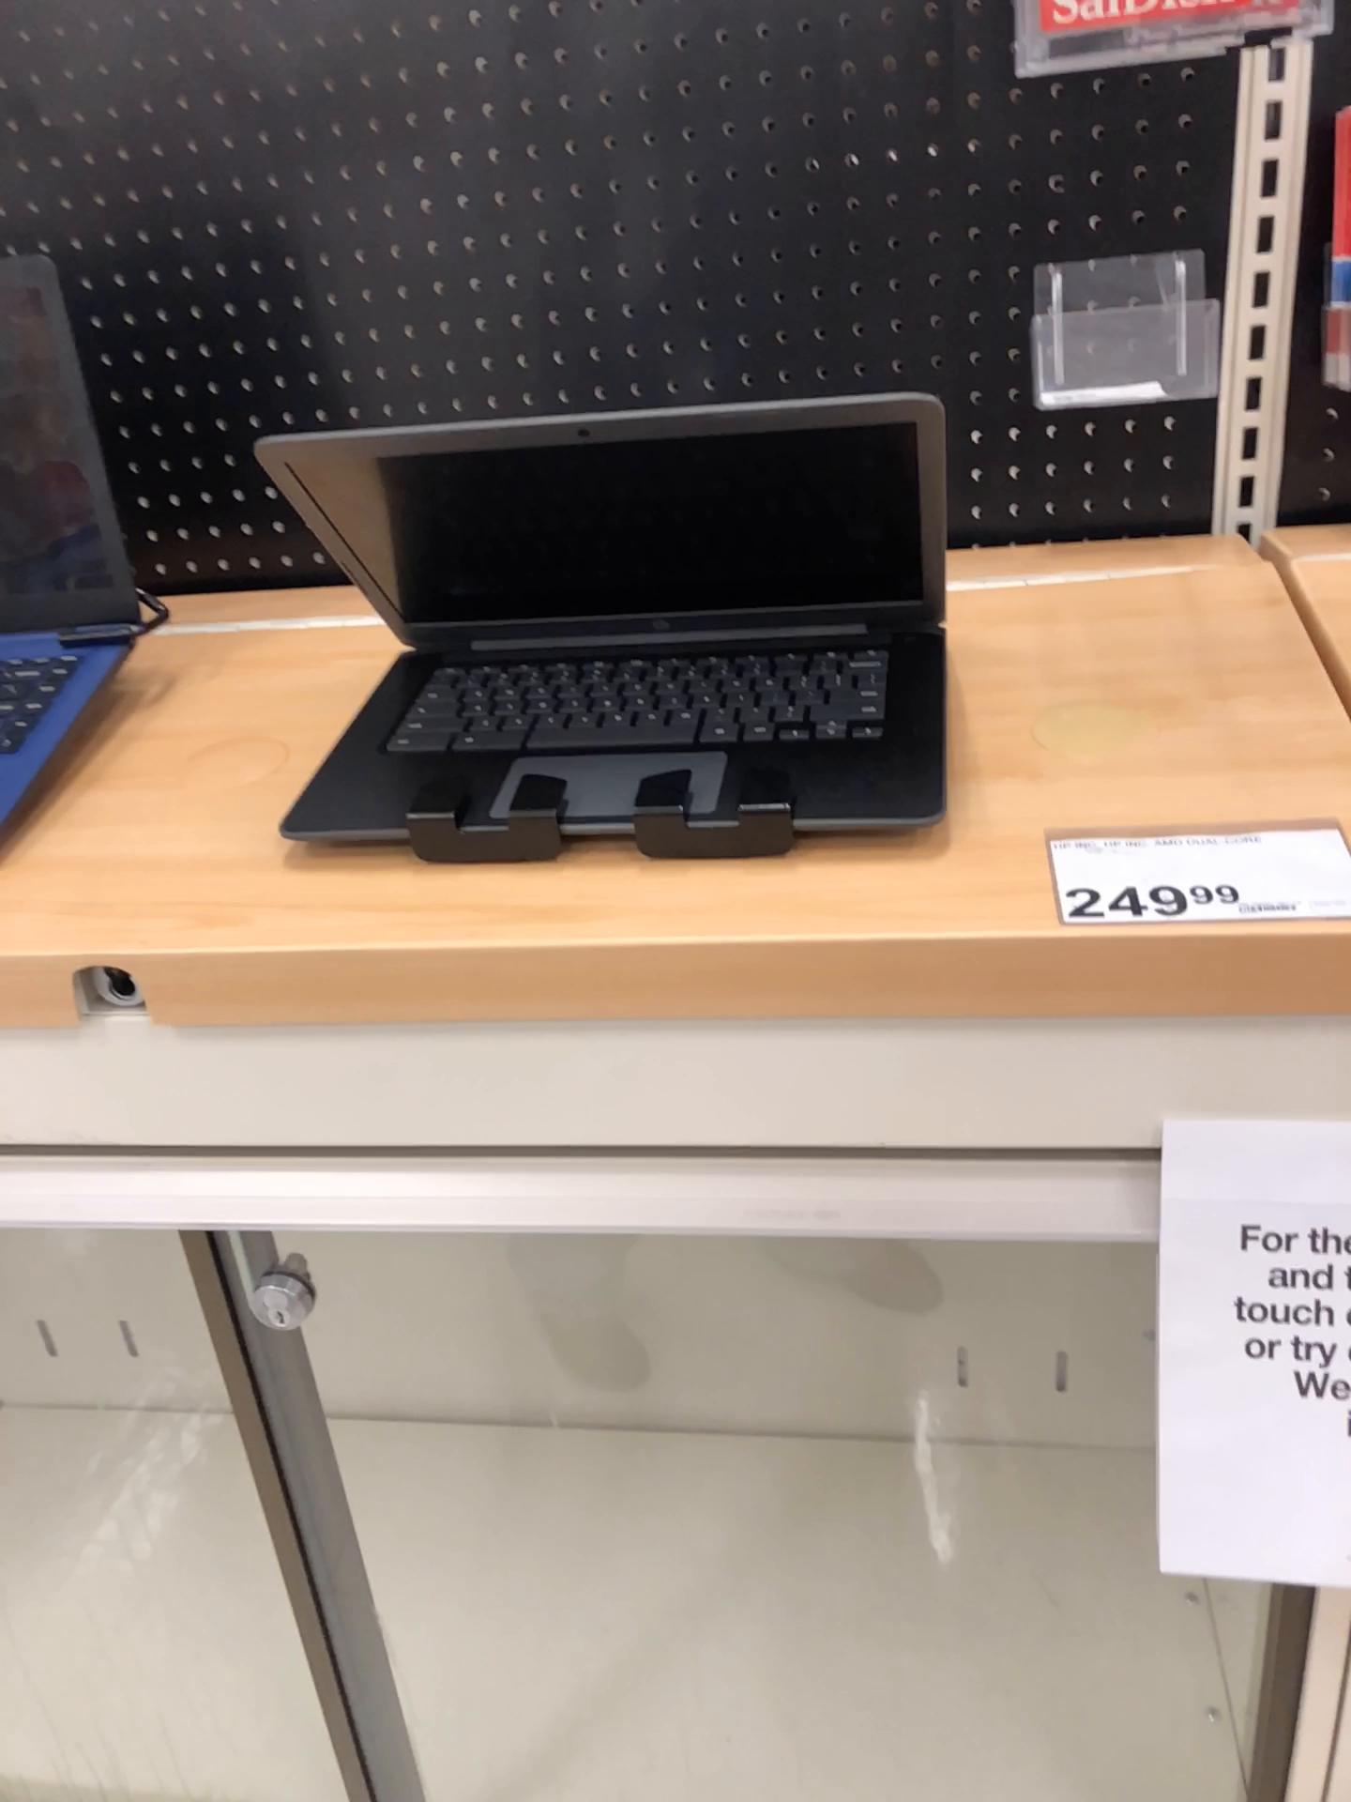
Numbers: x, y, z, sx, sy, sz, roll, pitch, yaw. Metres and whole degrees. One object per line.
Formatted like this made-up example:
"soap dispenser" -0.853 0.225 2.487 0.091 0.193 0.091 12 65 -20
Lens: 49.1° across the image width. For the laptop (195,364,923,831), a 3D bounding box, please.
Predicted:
"laptop" -0.039 -0.158 0.755 0.318 0.144 0.201 -1 32 11
